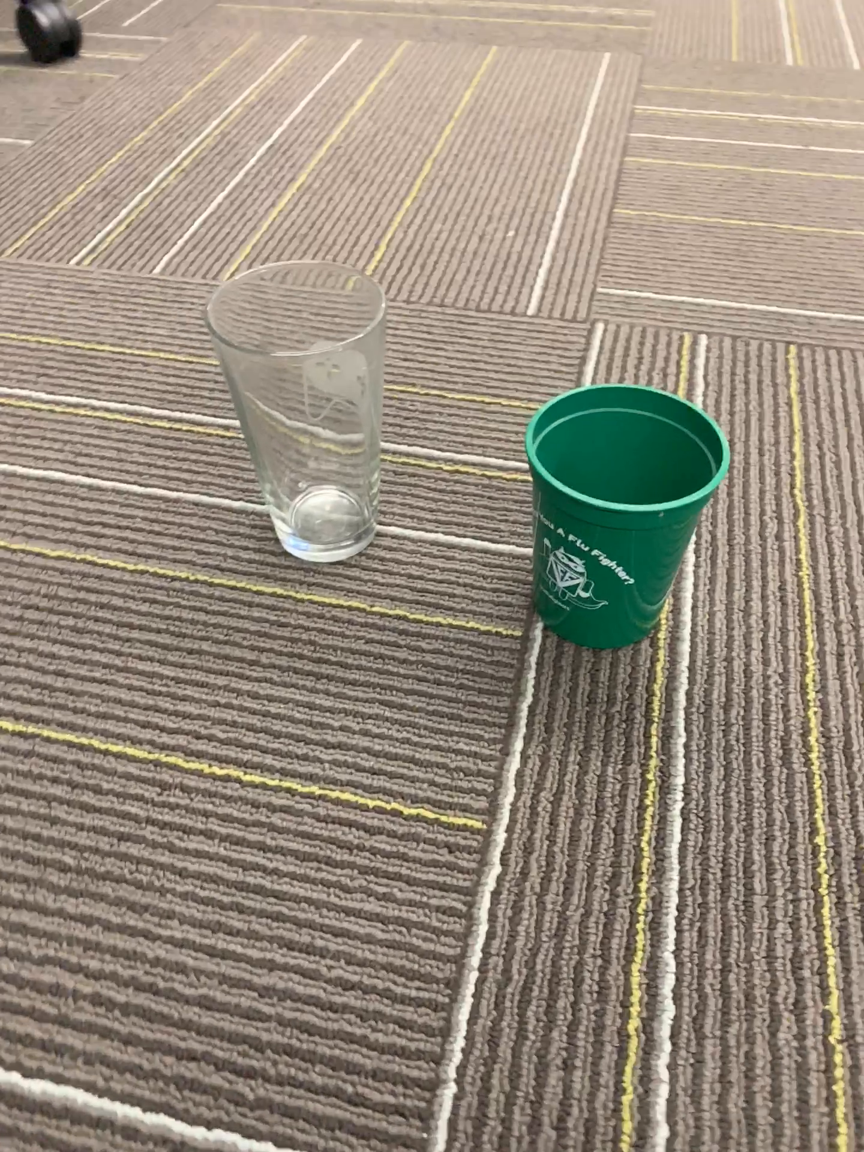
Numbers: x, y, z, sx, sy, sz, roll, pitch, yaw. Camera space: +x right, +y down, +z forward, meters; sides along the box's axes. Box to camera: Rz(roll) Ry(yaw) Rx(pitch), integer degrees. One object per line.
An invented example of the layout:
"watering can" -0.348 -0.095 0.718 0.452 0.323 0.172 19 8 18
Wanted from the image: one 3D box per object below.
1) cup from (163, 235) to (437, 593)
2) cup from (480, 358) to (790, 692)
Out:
"cup" -0.061 -0.084 0.471 0.090 0.139 0.090 -1 47 1
"cup" 0.096 -0.028 0.453 0.100 0.099 0.100 -1 47 1
